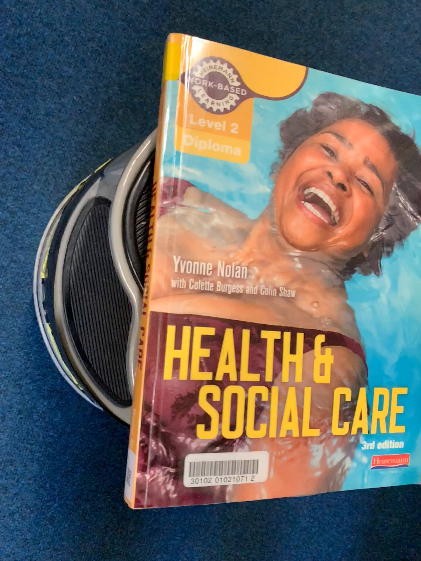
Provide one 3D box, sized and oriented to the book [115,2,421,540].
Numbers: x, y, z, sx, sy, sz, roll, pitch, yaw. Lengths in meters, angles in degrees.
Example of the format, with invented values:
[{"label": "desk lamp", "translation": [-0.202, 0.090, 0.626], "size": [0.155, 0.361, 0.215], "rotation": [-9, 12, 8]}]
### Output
[{"label": "book", "translation": [0.056, -0.001, 0.262], "size": [0.200, 0.030, 0.270], "rotation": [5, 87, -18]}]
